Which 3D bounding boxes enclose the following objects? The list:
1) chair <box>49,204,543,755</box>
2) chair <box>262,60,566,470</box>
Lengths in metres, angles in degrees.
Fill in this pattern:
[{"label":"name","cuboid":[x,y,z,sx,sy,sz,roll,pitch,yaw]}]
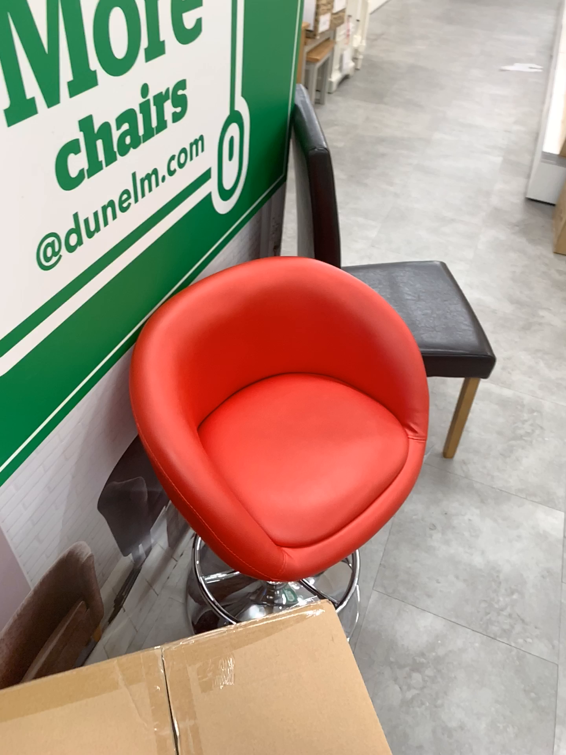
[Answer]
[{"label":"chair","cuboid":[0.004,0.200,1.062,0.479,0.761,0.497,35,51,27]},{"label":"chair","cuboid":[0.241,-0.234,1.496,0.517,0.919,0.449,-1,44,-7]}]
